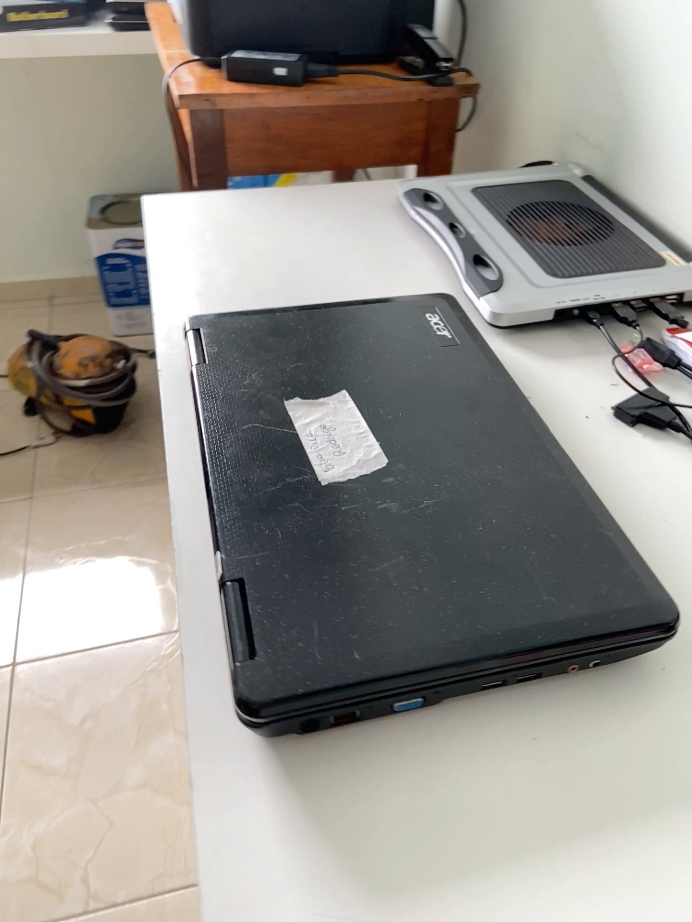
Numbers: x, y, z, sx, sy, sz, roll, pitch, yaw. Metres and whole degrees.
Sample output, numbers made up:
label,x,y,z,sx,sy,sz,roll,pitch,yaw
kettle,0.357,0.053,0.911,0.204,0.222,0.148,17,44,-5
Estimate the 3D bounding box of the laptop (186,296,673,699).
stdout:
label,x,y,z,sx,sy,sz,roll,pitch,yaw
laptop,0.022,-0.017,0.497,0.238,0.005,0.358,-7,42,-11
